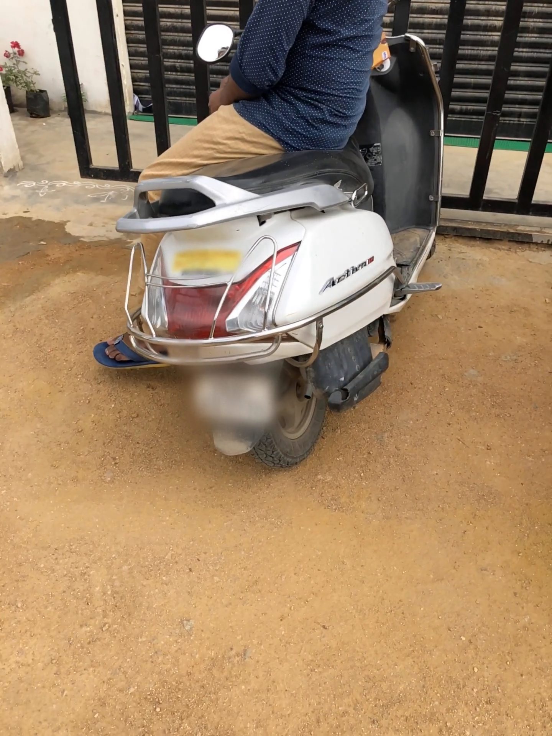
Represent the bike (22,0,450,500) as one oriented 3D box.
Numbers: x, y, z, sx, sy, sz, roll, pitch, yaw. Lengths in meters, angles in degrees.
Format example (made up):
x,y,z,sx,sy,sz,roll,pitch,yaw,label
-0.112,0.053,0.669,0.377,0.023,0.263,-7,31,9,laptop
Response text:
x,y,z,sx,sy,sz,roll,pitch,yaw,label
0.076,-0.659,1.942,0.649,1.069,1.656,11,38,14,bike
